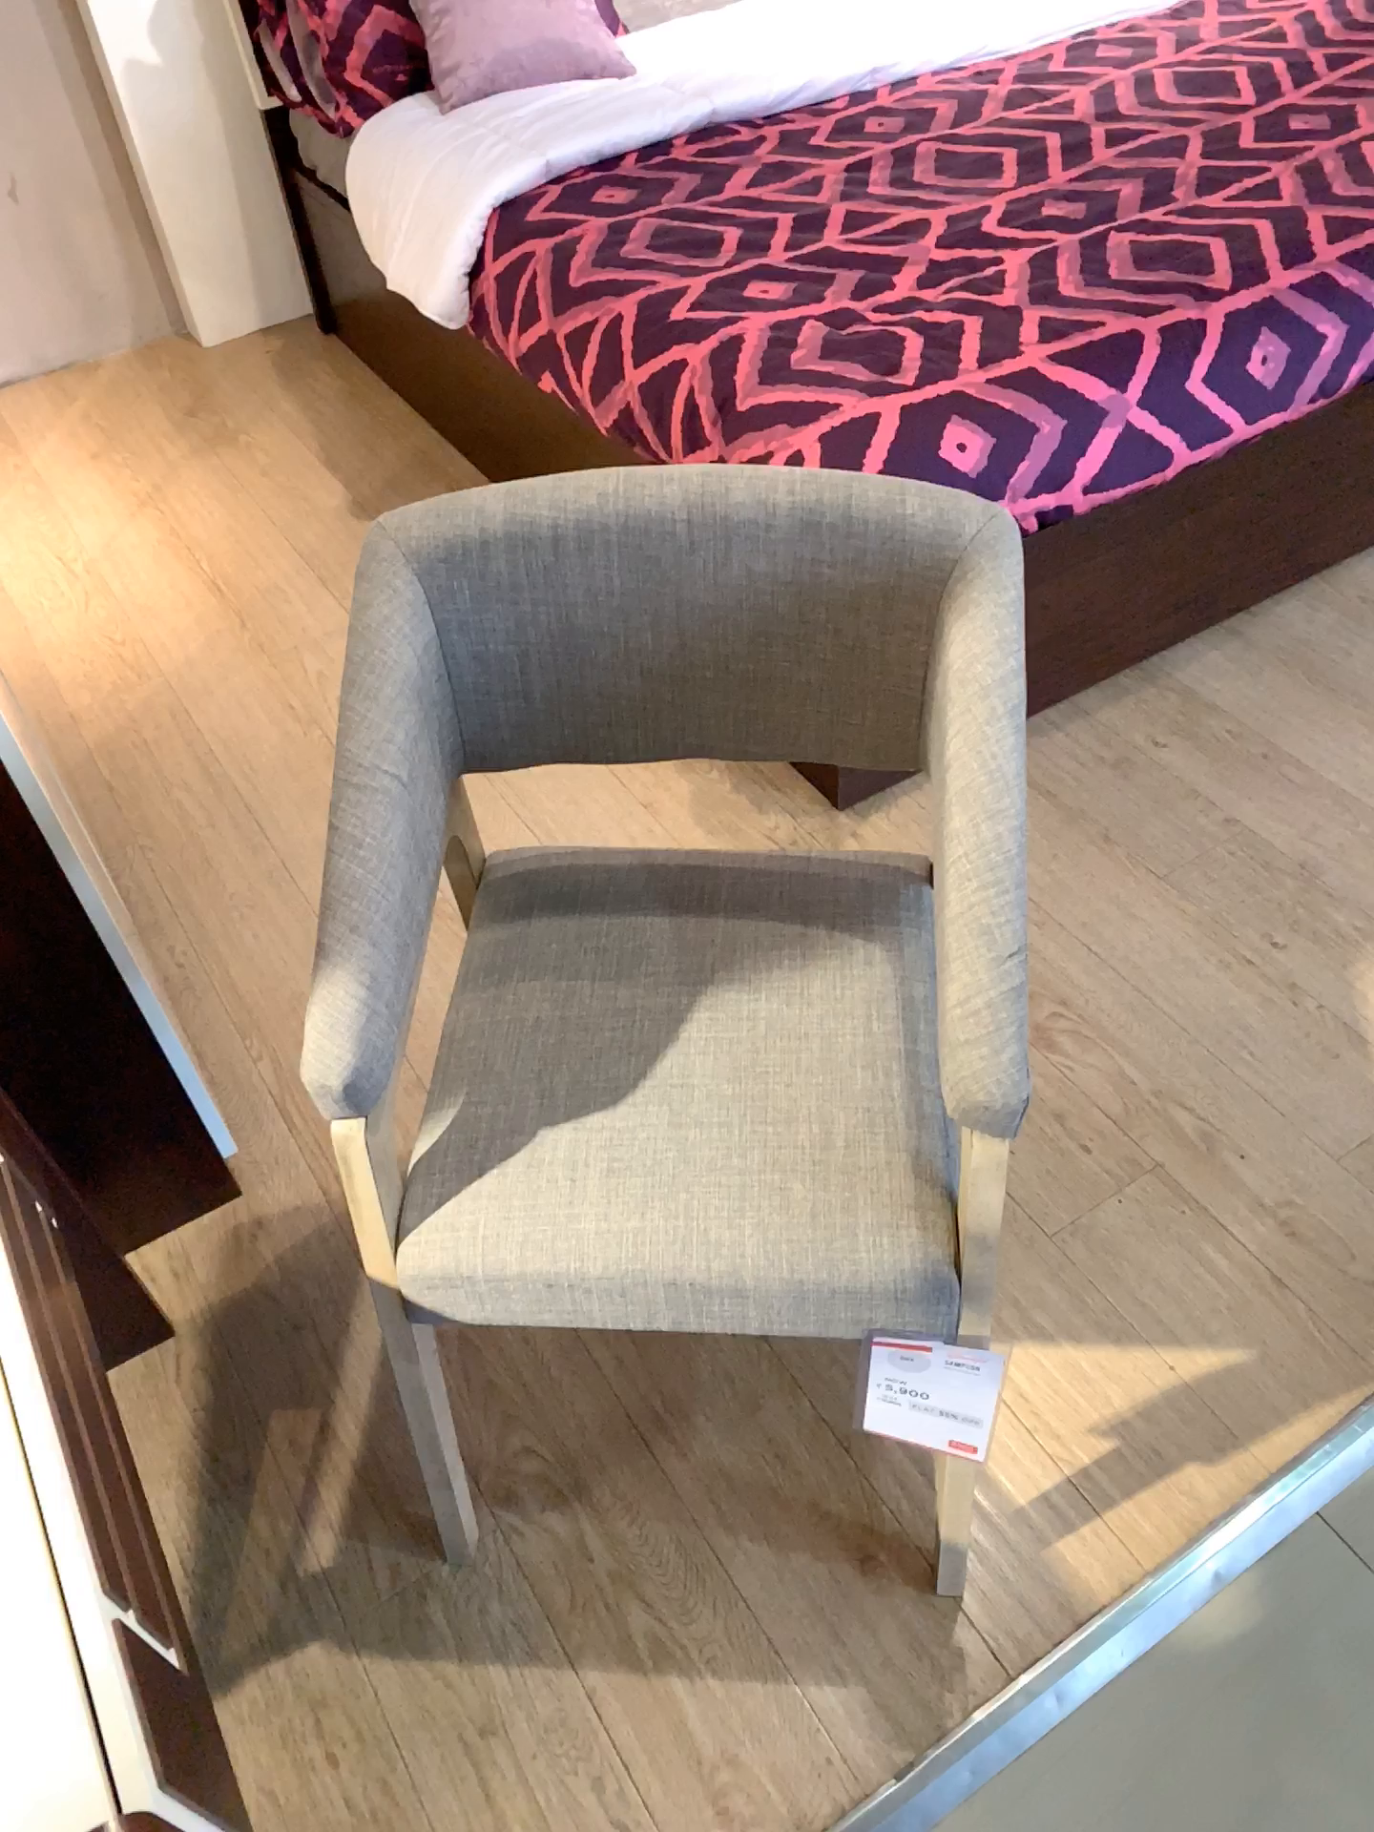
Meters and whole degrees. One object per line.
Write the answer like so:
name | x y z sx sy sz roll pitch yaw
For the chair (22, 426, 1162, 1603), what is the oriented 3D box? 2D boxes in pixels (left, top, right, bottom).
chair | -0.005 0.119 1.165 0.560 0.797 0.582 0 47 6
